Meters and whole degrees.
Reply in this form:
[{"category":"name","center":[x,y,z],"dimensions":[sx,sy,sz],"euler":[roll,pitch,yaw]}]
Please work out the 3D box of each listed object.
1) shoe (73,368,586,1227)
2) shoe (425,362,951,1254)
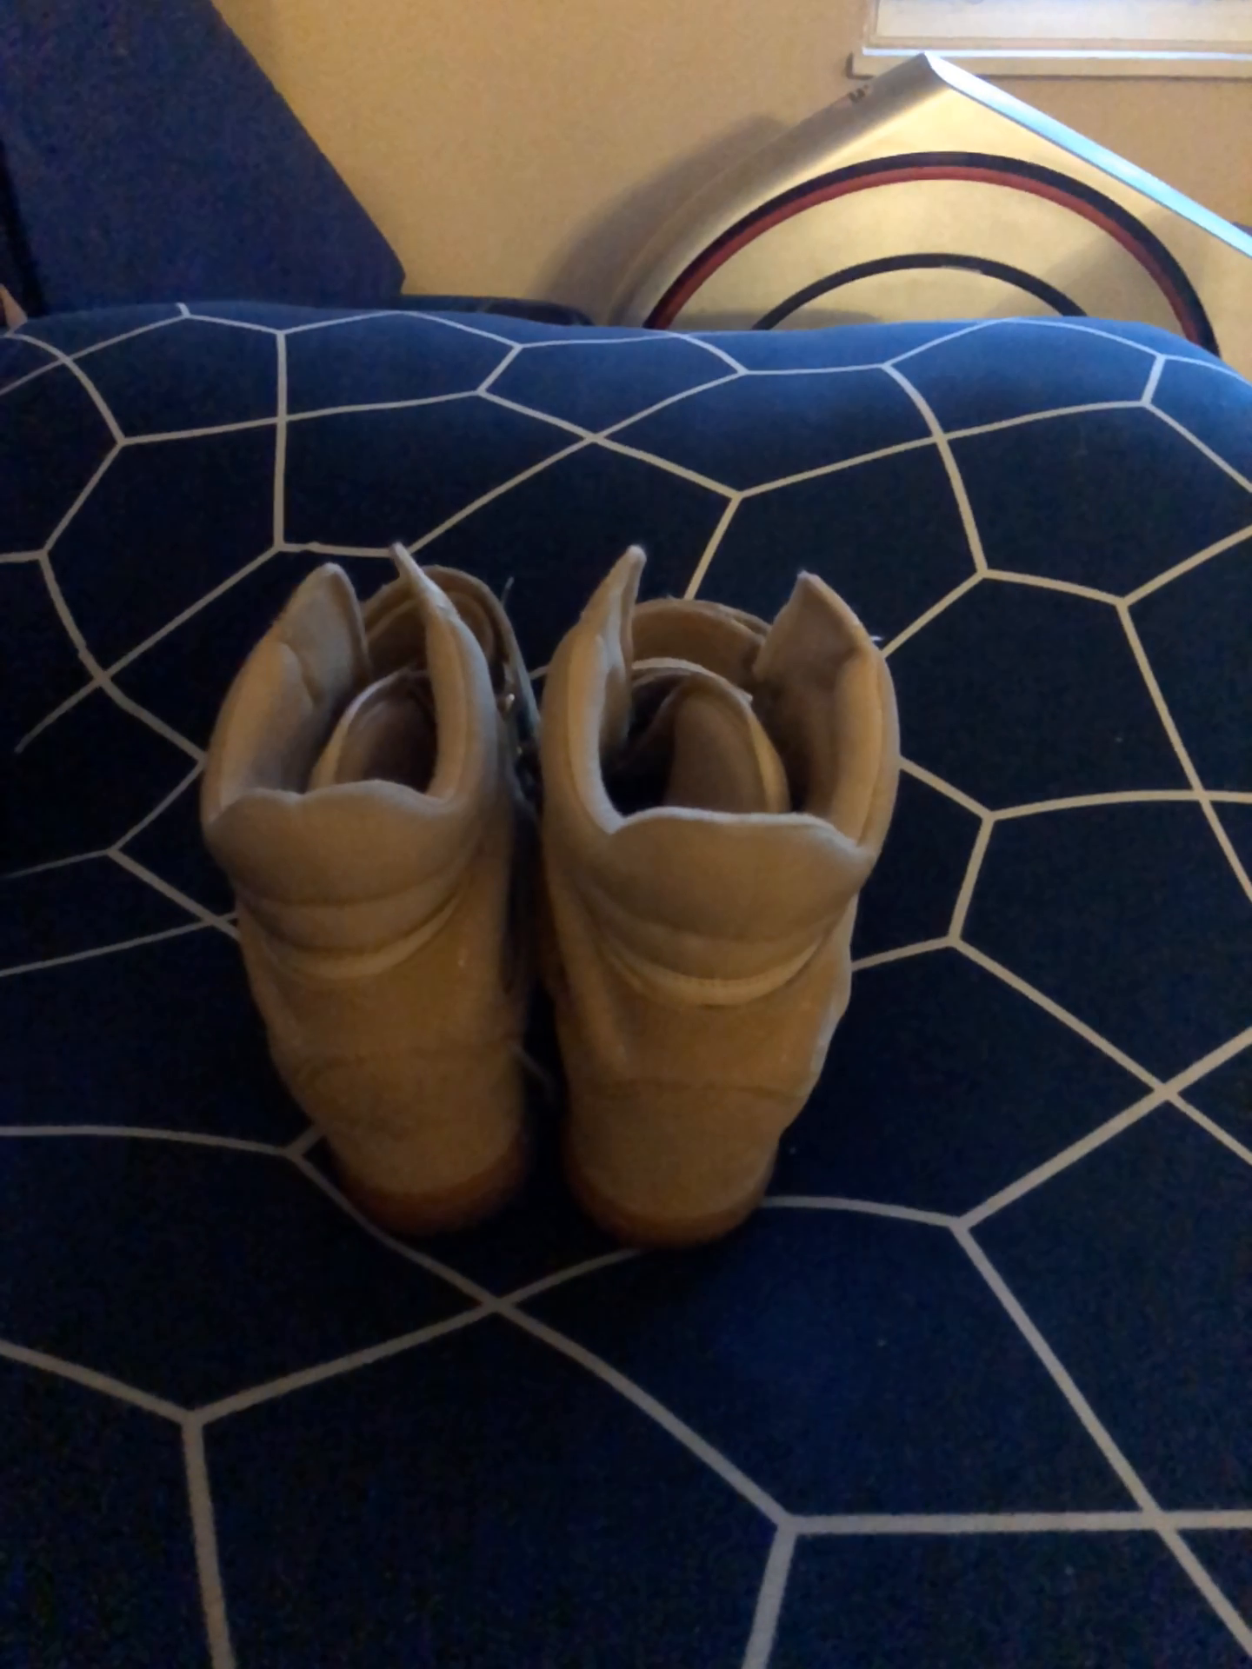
[{"category":"shoe","center":[-0.066,-0.032,0.424],"dimensions":[0.100,0.139,0.262],"euler":[-2,36,-1]},{"category":"shoe","center":[0.016,-0.033,0.412],"dimensions":[0.100,0.129,0.282],"euler":[0,36,1]}]
